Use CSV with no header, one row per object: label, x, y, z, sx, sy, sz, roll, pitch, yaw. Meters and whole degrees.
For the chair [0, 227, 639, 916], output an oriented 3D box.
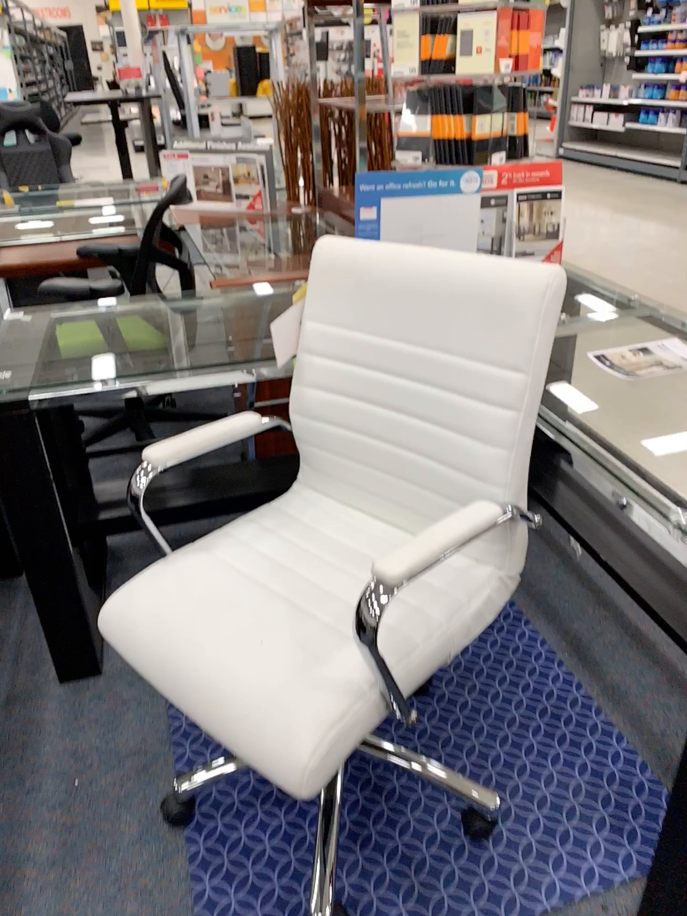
chair,-0.002,0.194,1.202,0.616,0.964,0.663,20,36,35
